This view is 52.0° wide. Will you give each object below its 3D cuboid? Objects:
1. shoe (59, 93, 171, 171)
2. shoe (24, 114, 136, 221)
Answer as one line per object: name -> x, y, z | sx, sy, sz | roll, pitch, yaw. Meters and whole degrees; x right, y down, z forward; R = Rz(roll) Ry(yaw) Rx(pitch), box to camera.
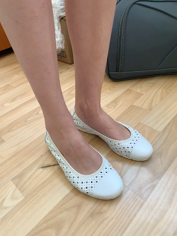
shoe -> 0.056, 0.022, 0.477 | 0.271, 0.070, 0.090 | 23, 49, 32
shoe -> -0.032, 0.094, 0.437 | 0.100, 0.070, 0.271 | -37, 47, -29
